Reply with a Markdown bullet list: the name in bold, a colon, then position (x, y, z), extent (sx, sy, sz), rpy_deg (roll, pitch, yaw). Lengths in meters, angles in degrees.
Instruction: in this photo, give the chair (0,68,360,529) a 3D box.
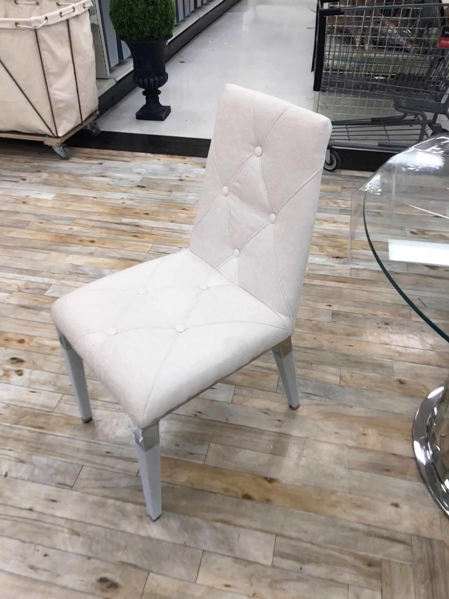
- **chair**: position (-0.110, -0.003, 1.217), extent (0.570, 0.886, 0.472), rpy_deg (-25, 45, -27)
